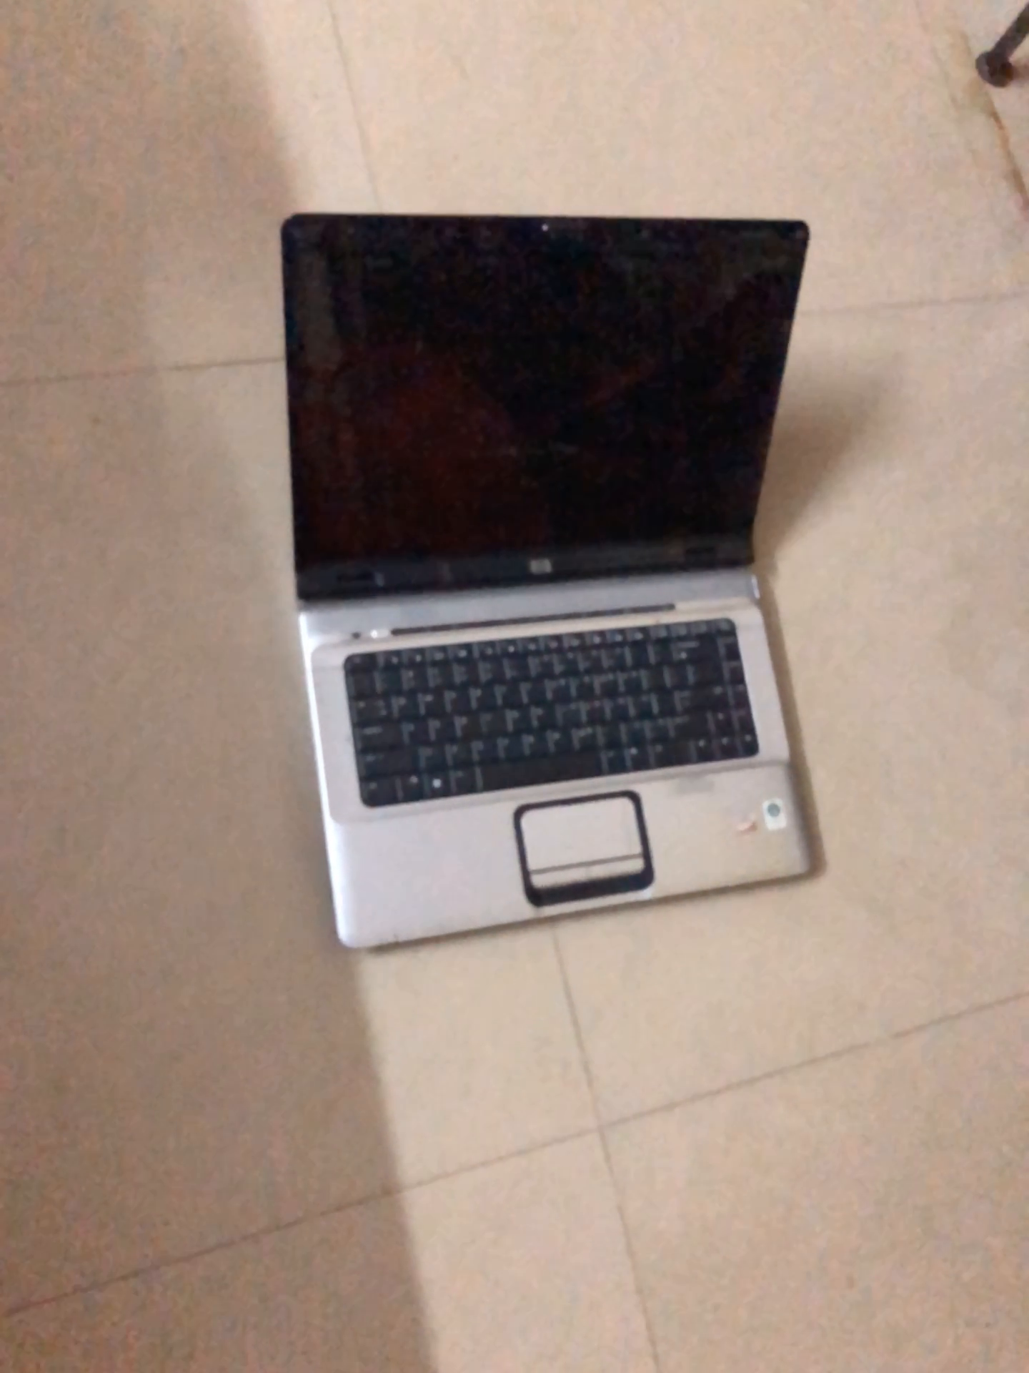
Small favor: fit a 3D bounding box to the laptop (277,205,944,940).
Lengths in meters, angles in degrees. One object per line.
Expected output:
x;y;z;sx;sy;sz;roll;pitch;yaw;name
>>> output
0.043;-0.072;0.744;0.338;0.167;0.409;-6;79;-16;laptop
